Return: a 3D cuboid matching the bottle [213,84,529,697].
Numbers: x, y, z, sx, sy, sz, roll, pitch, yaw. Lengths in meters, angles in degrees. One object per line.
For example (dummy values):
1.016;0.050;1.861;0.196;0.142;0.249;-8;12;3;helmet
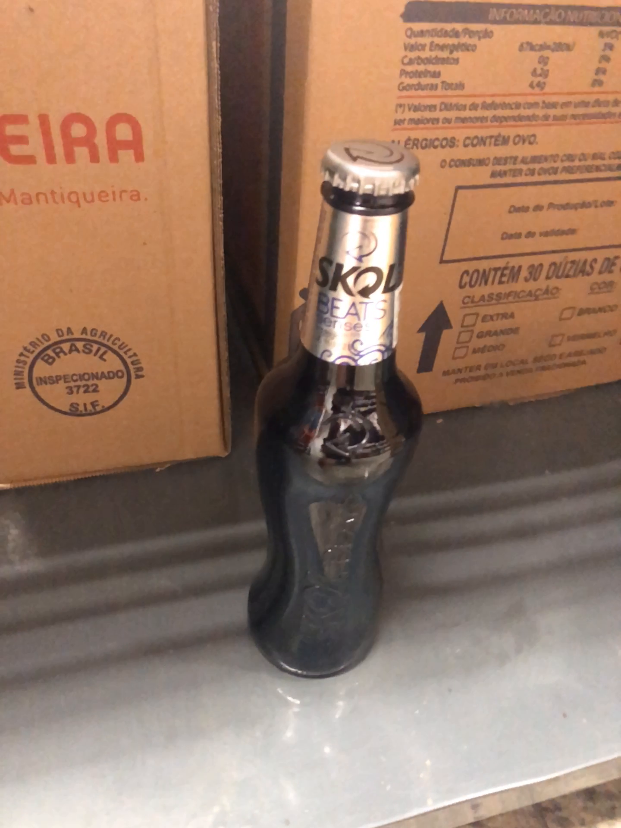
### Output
0.006;0.011;0.266;0.070;0.238;0.071;2;41;-2;bottle
